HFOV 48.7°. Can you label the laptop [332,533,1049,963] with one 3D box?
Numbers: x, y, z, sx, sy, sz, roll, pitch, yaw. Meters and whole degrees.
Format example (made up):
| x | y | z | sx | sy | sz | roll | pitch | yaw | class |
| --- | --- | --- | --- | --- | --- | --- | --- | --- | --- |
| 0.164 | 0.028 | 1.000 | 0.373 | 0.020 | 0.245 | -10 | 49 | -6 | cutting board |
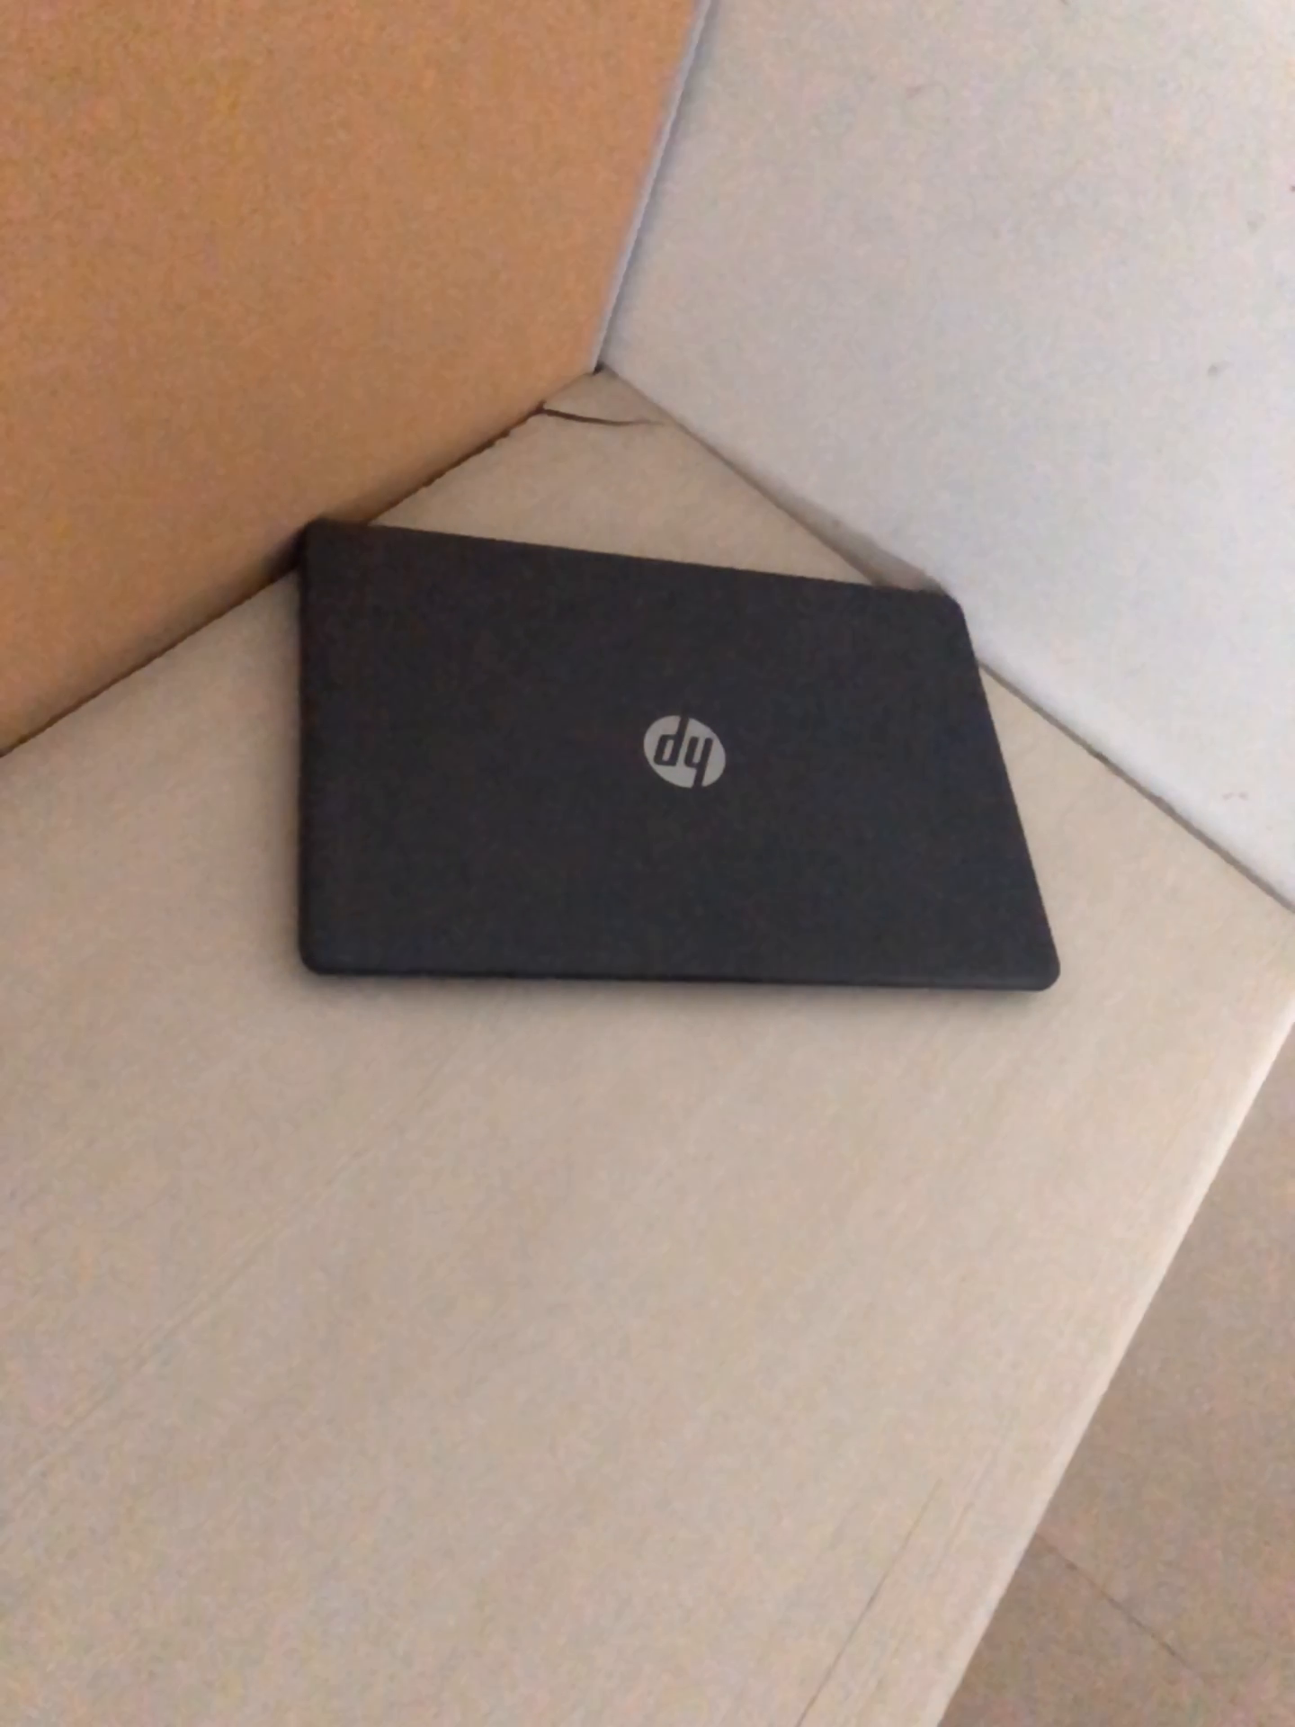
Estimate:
| x | y | z | sx | sy | sz | roll | pitch | yaw | class |
| --- | --- | --- | --- | --- | --- | --- | --- | --- | --- |
| 0.022 | -0.060 | 0.732 | 0.356 | 0.004 | 0.237 | 3 | 58 | -17 | laptop |
